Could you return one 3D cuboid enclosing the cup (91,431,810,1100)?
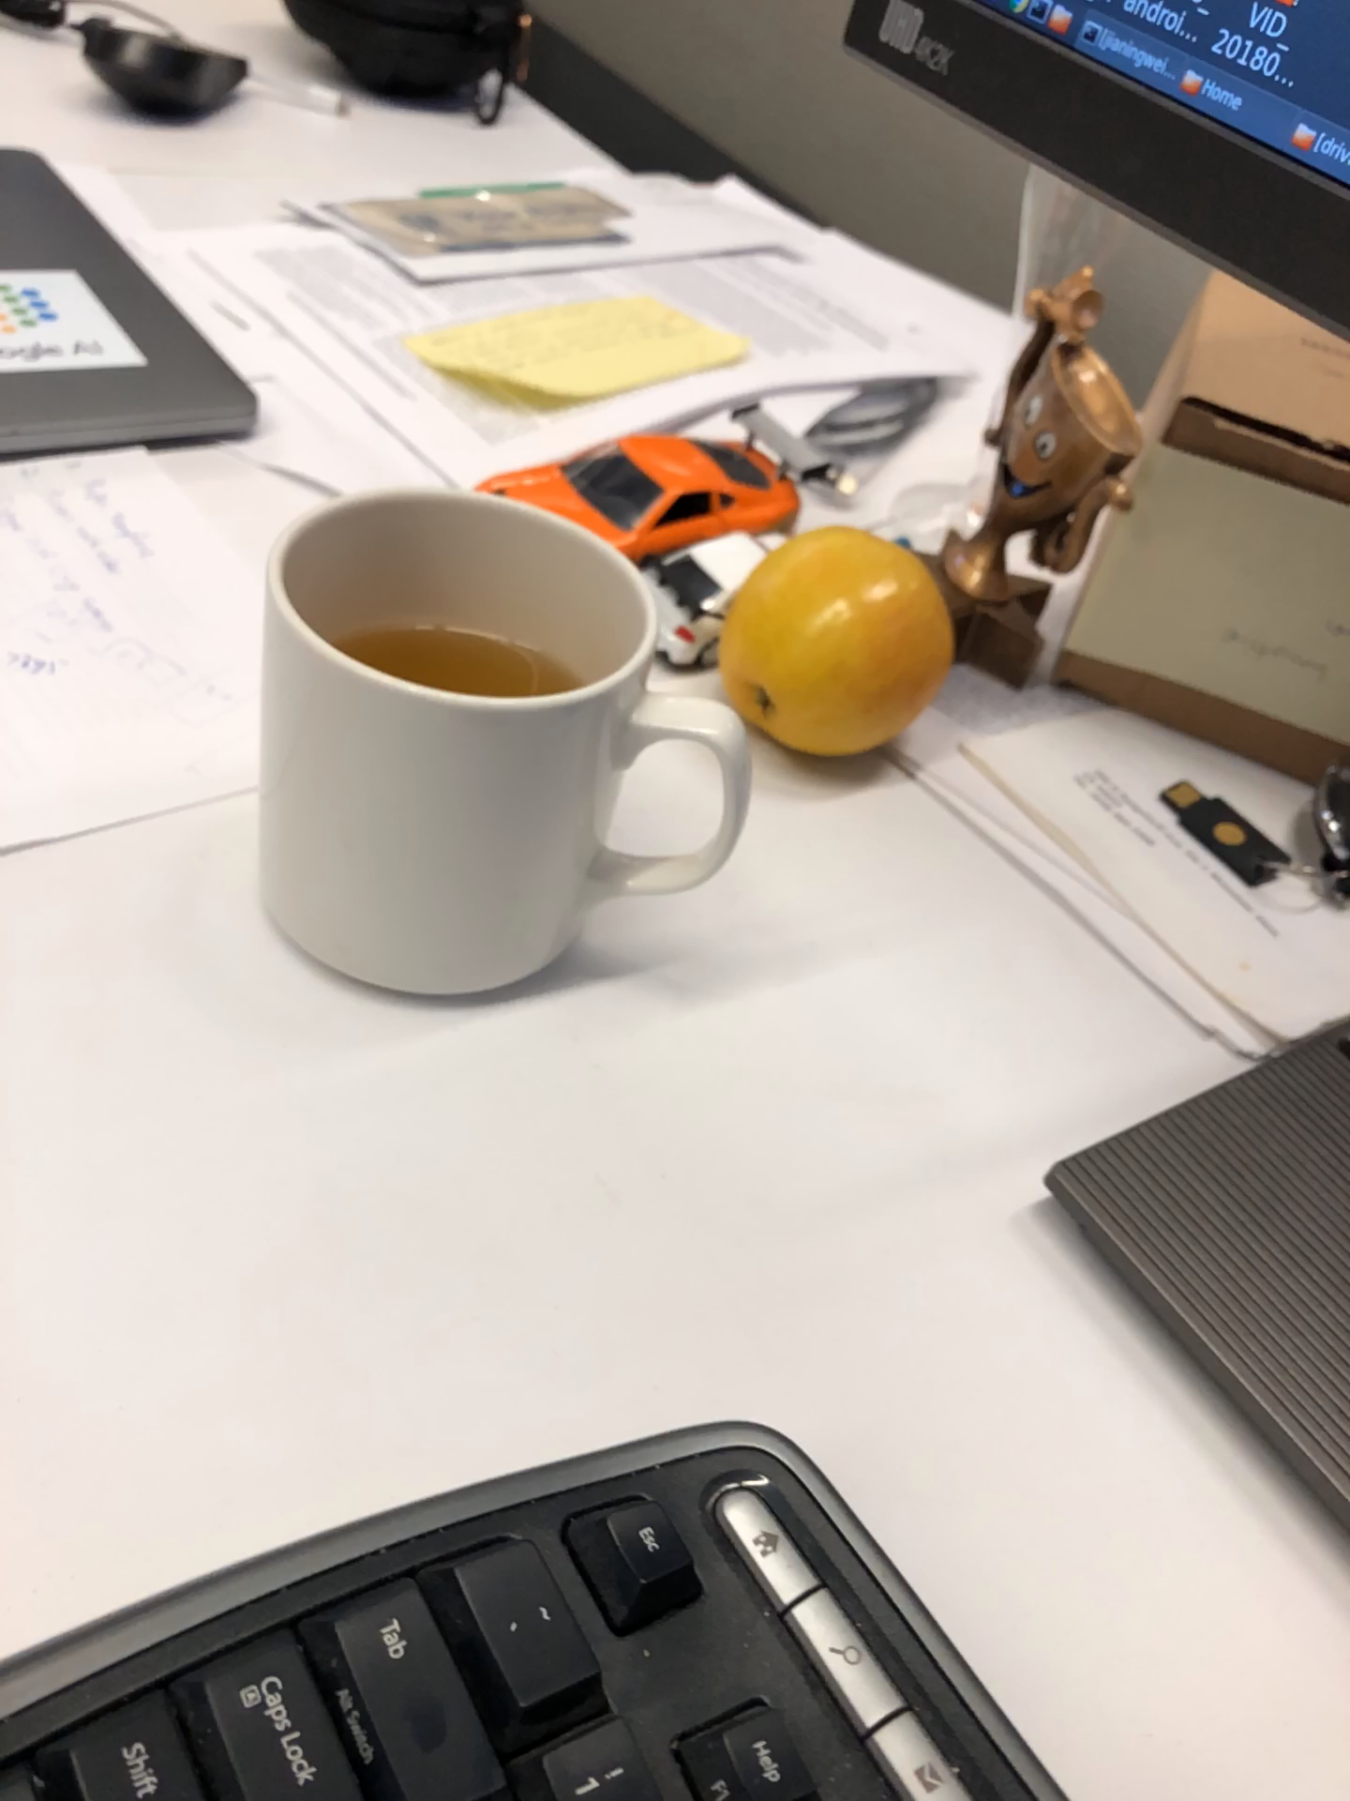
[{"bbox_3d":[-0.045,-0.030,0.319,0.120,0.080,0.080,17,41,2],"label":"cup"}]
